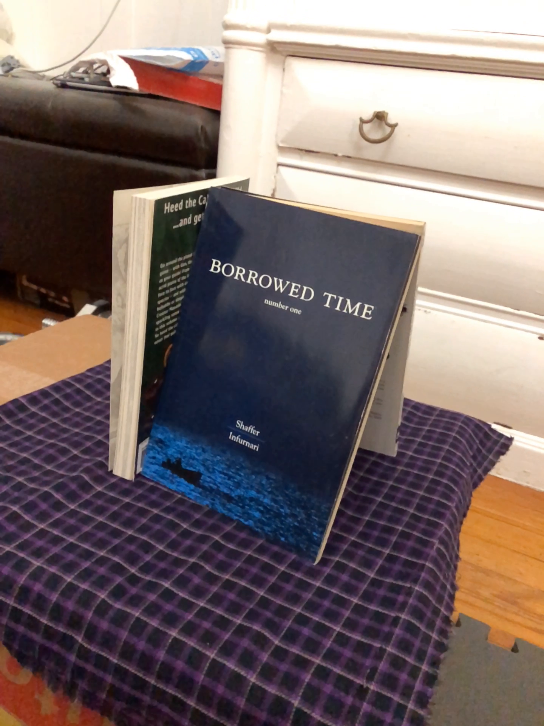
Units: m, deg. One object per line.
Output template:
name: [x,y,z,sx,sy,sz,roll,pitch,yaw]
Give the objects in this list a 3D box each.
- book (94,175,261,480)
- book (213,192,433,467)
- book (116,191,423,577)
book: [-0.065,-0.031,0.428,0.020,0.189,0.141,21,26,16]
book: [0.031,-0.016,0.430,0.140,0.199,0.010,15,43,21]
book: [-0.010,0.006,0.374,0.150,0.200,0.010,18,5,22]
